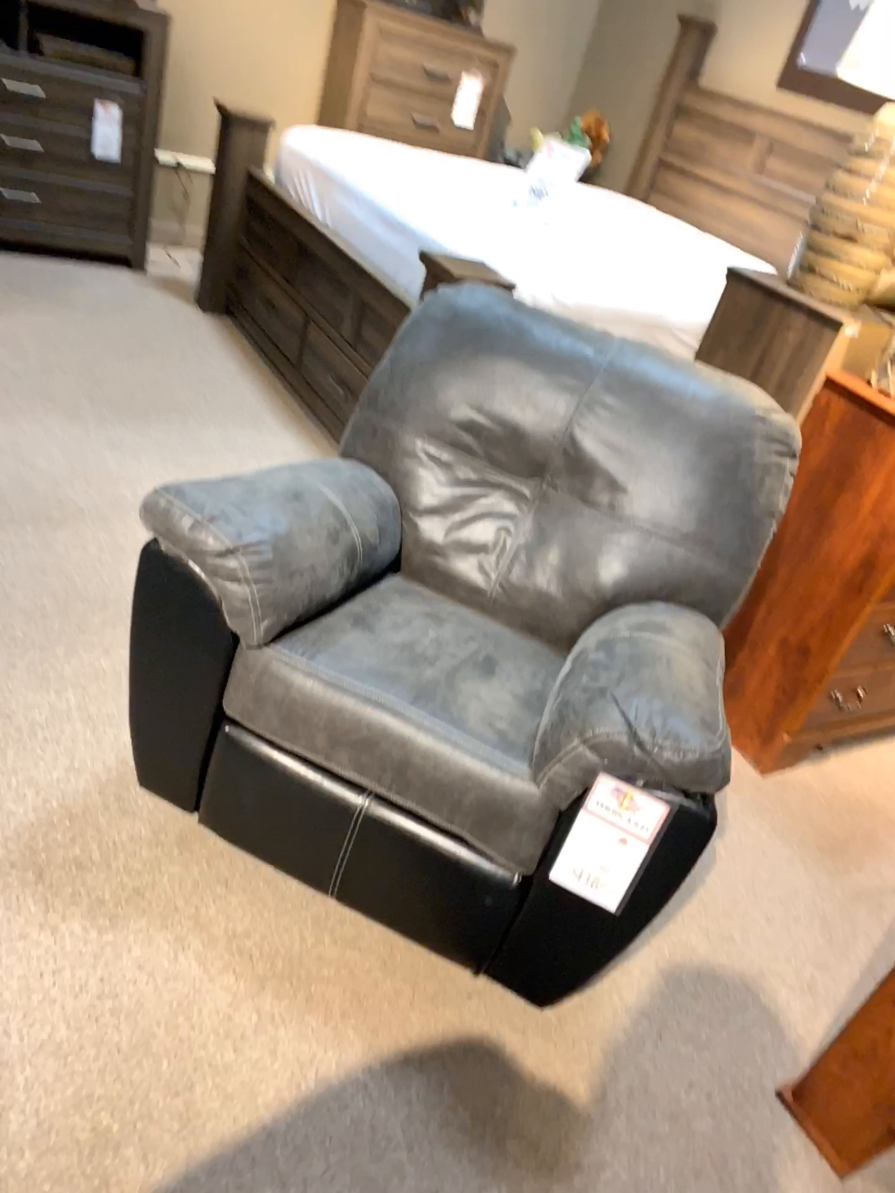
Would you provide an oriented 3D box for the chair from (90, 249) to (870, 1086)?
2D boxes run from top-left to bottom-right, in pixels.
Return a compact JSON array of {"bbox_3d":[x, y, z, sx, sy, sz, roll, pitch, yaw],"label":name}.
[{"bbox_3d":[0.074,0.024,1.705,0.988,0.922,0.909,25,32,12],"label":"chair"}]
